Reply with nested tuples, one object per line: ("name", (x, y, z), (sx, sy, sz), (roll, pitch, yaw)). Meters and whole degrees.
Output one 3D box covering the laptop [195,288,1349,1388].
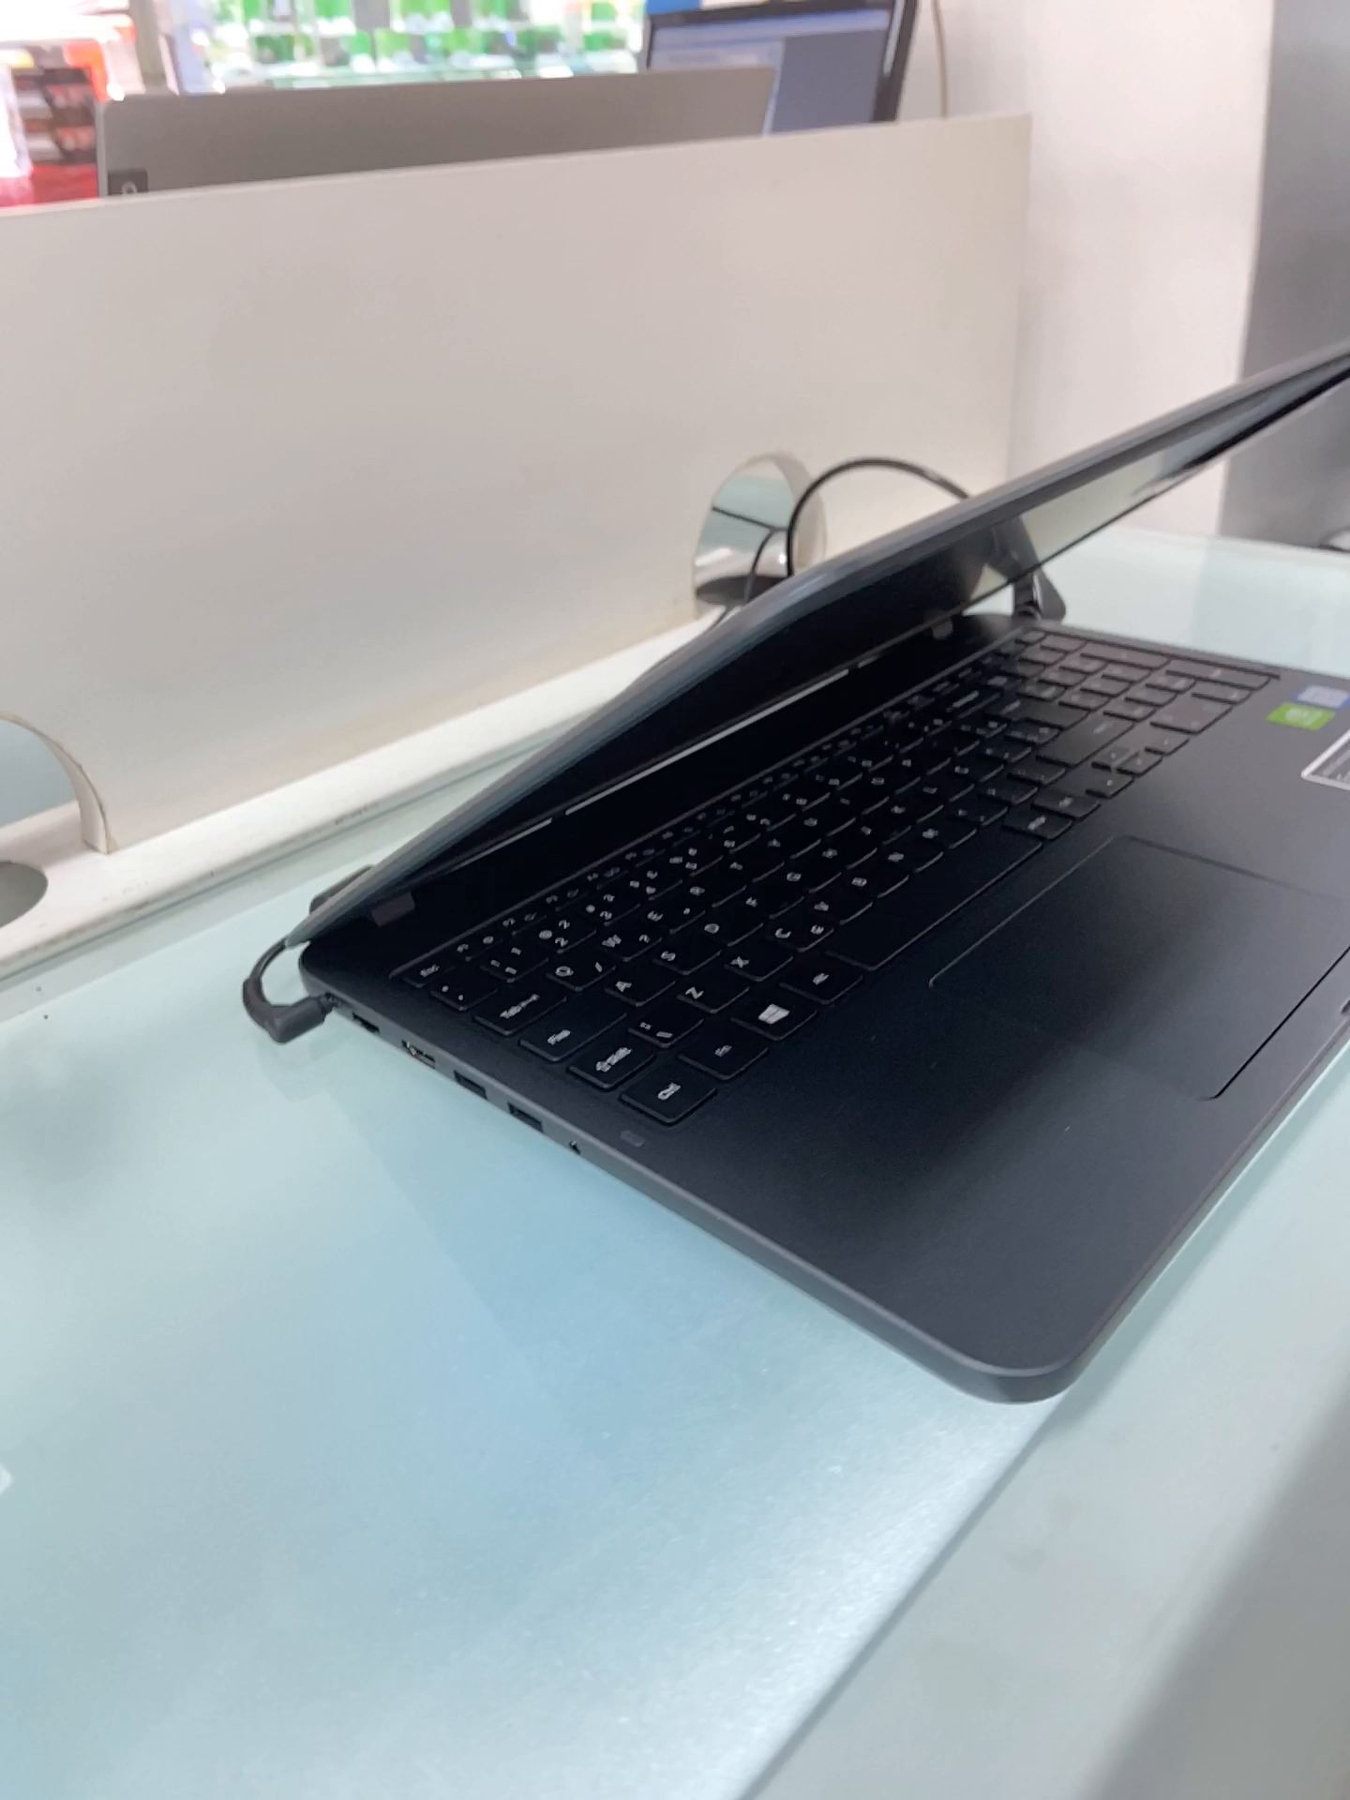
("laptop", (0.103, -0.080, 0.419), (0.239, 0.140, 0.378), (22, 38, 37))
